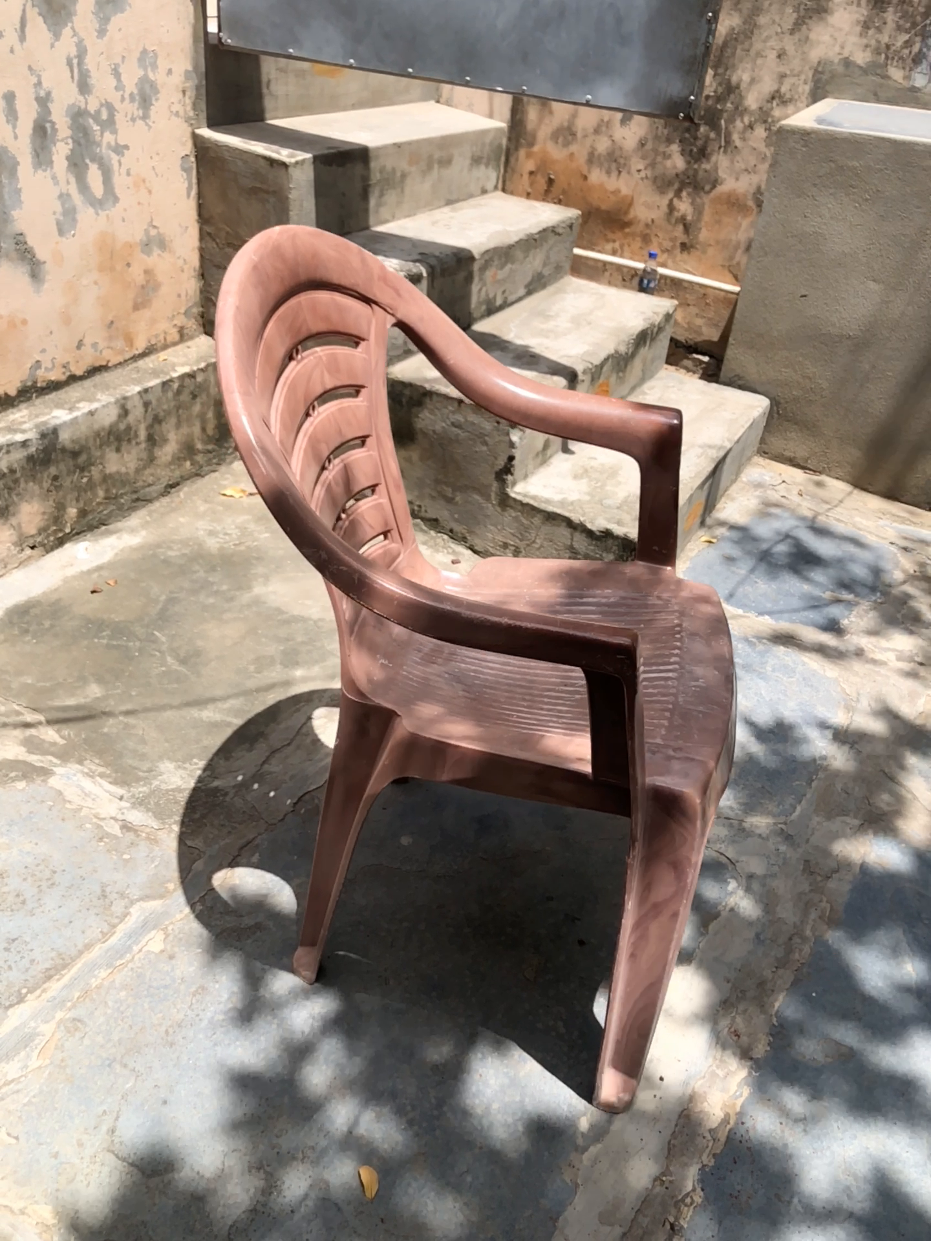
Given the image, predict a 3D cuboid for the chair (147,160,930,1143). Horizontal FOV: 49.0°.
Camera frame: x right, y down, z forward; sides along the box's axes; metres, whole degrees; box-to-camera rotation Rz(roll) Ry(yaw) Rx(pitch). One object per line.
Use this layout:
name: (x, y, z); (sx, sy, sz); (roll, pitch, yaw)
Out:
chair: (0.074, 0.002, 1.099); (0.540, 0.766, 0.584); (12, 34, 8)
